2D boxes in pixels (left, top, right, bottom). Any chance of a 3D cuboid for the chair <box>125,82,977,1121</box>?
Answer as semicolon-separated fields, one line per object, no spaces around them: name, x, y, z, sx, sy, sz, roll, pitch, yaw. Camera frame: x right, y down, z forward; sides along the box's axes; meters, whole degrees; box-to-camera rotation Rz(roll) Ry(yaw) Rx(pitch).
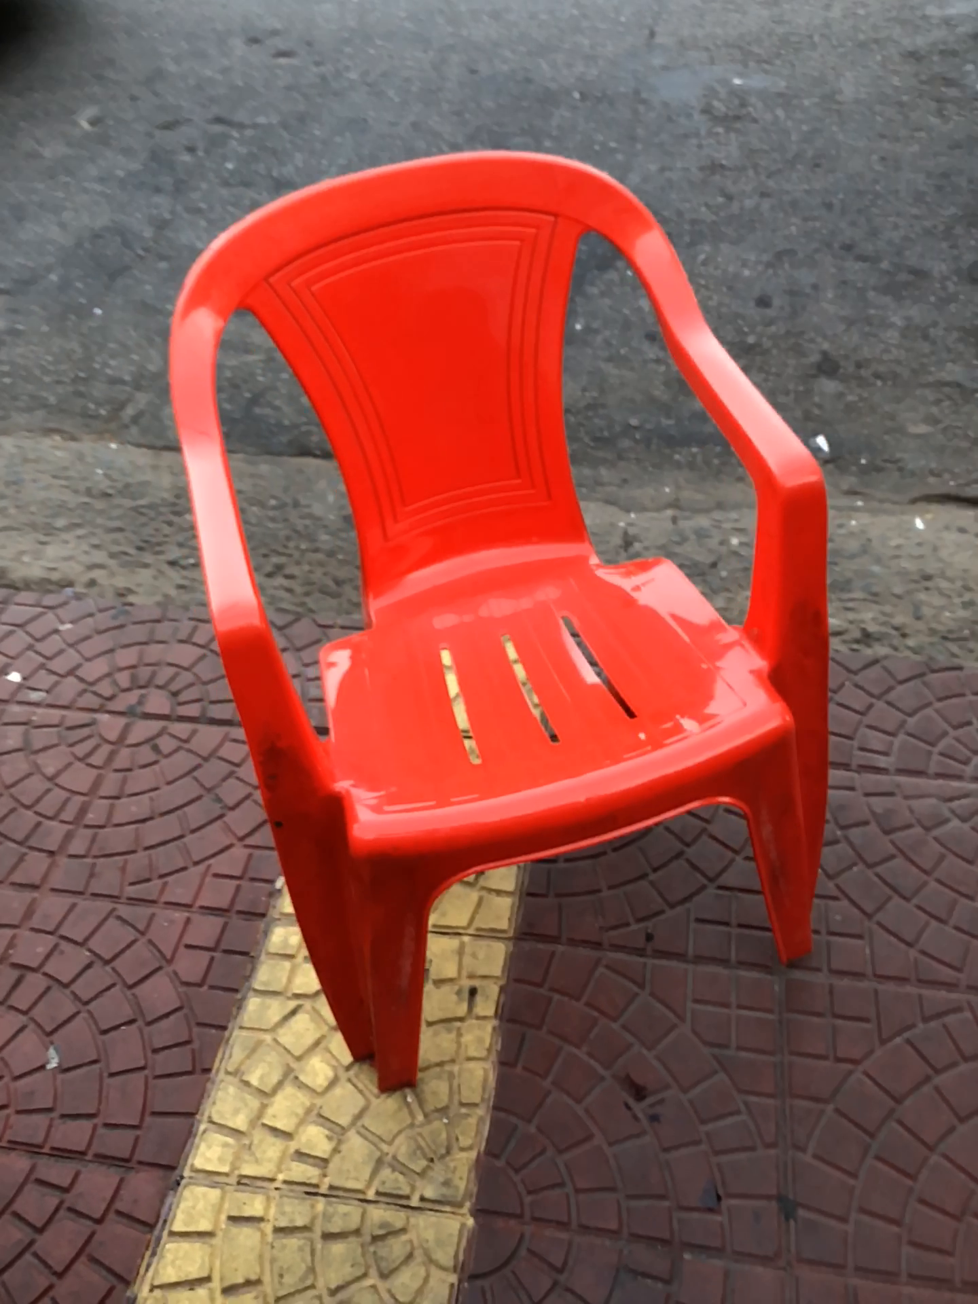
chair;0.044;-0.028;1.100;0.570;0.794;0.544;-13;47;-11
